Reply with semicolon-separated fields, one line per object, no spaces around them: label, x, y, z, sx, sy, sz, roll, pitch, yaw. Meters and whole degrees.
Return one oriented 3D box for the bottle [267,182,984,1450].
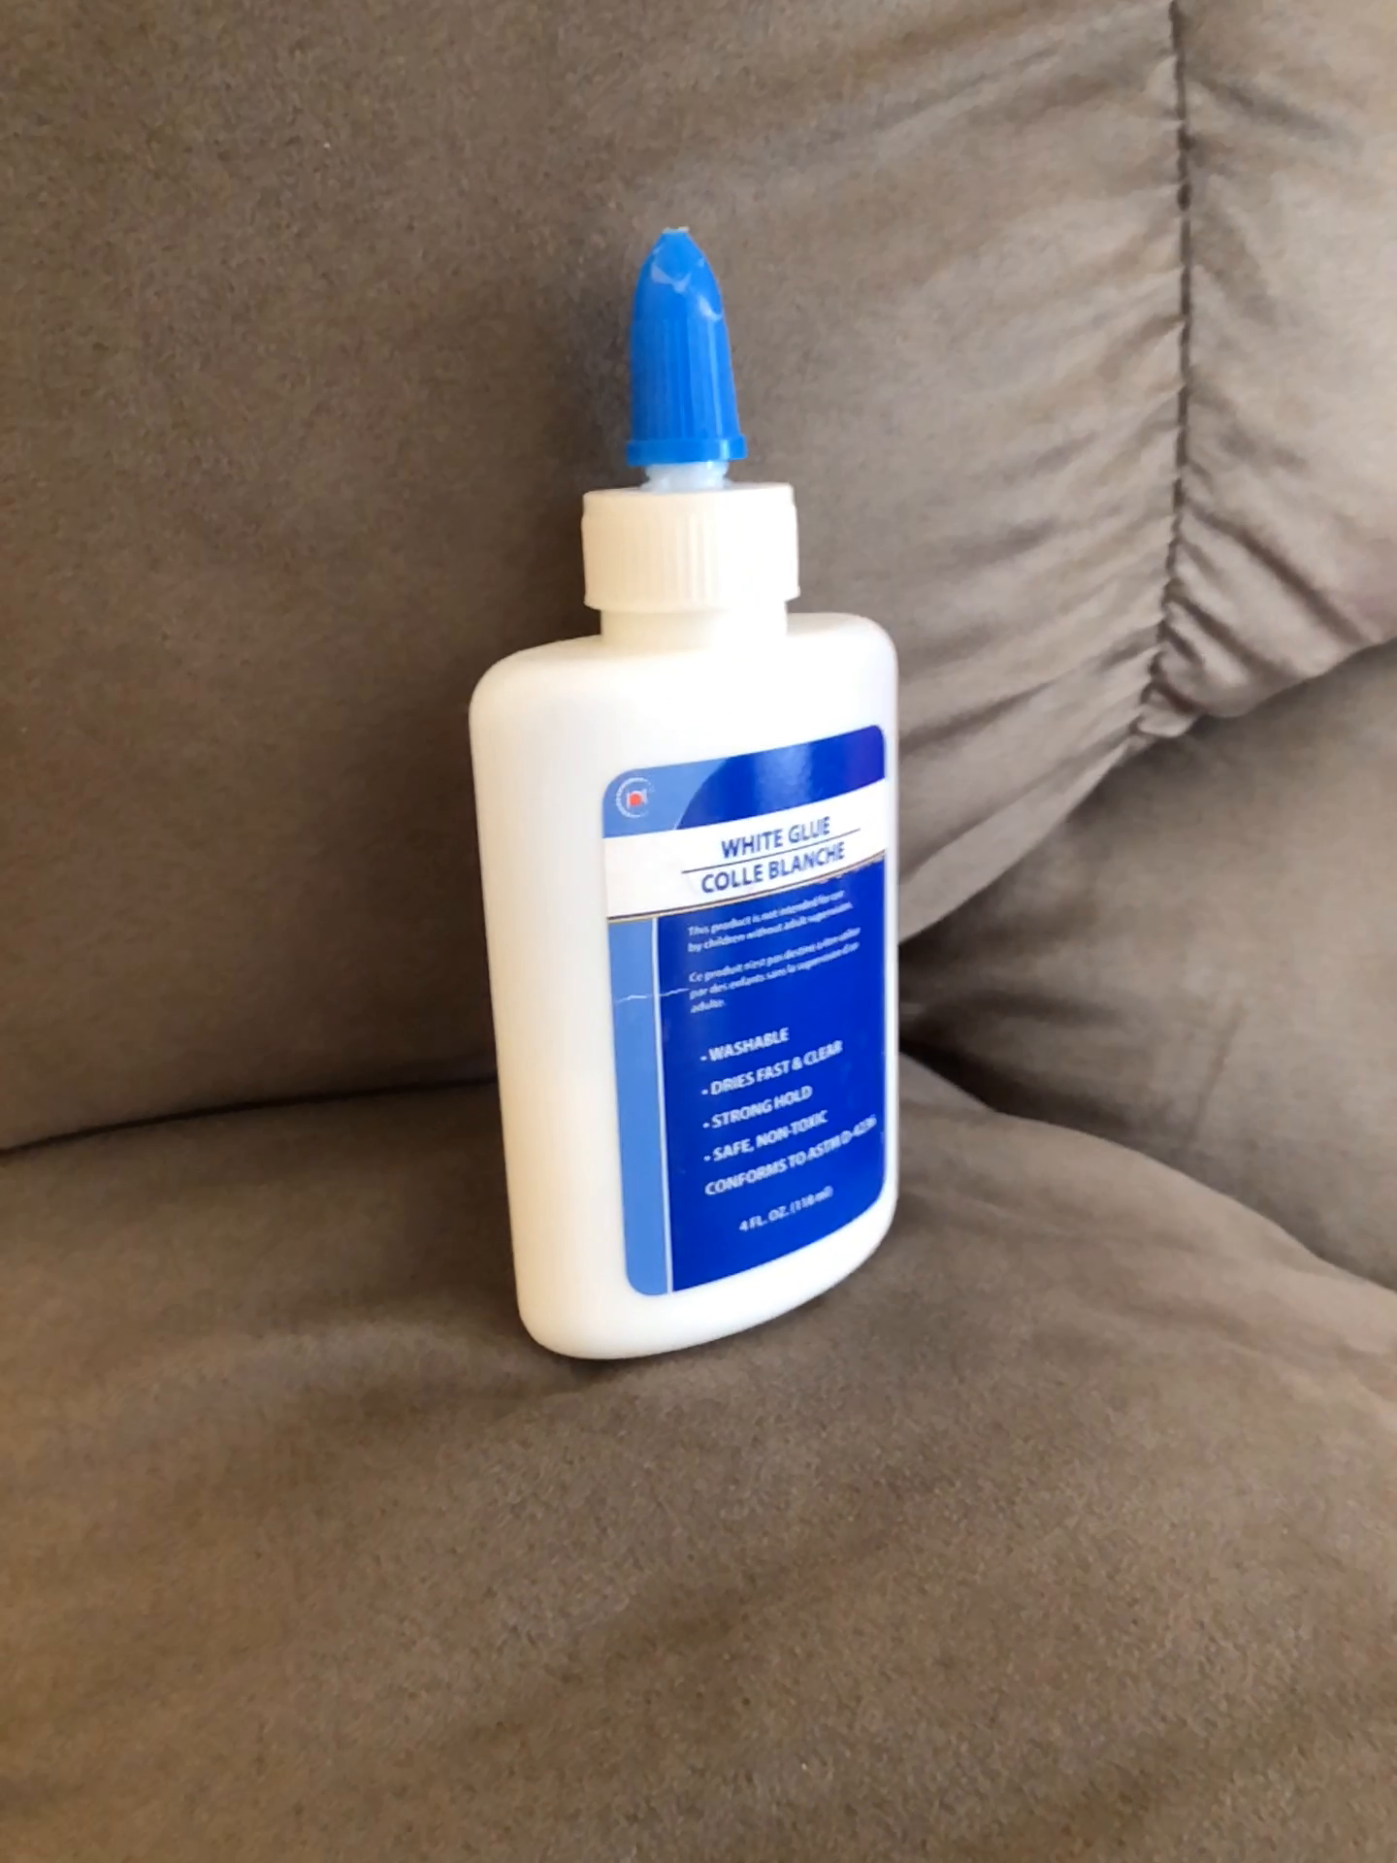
bottle;-0.004;-0.016;0.194;0.070;0.130;0.040;-15;20;-36
